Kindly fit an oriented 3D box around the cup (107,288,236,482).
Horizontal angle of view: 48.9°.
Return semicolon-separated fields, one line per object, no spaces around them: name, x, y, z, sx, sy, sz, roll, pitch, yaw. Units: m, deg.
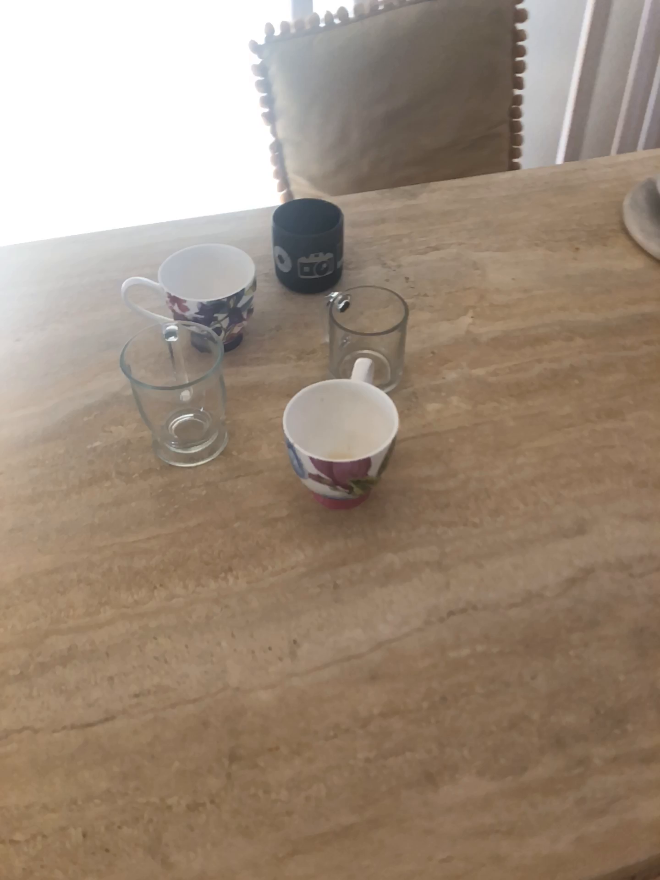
cup;-0.158;-0.057;0.731;0.100;0.119;0.141;-8;47;-7

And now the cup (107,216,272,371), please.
cup;-0.157;-0.168;0.824;0.150;0.099;0.111;-16;49;-14

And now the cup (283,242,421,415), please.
cup;0.022;-0.126;0.813;0.090;0.119;0.131;-25;52;-21

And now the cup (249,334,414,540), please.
cup;0.007;-0.006;0.690;0.110;0.099;0.151;12;48;12

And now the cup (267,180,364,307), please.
cup;-0.020;-0.258;0.943;0.100;0.089;0.141;-8;47;-7
